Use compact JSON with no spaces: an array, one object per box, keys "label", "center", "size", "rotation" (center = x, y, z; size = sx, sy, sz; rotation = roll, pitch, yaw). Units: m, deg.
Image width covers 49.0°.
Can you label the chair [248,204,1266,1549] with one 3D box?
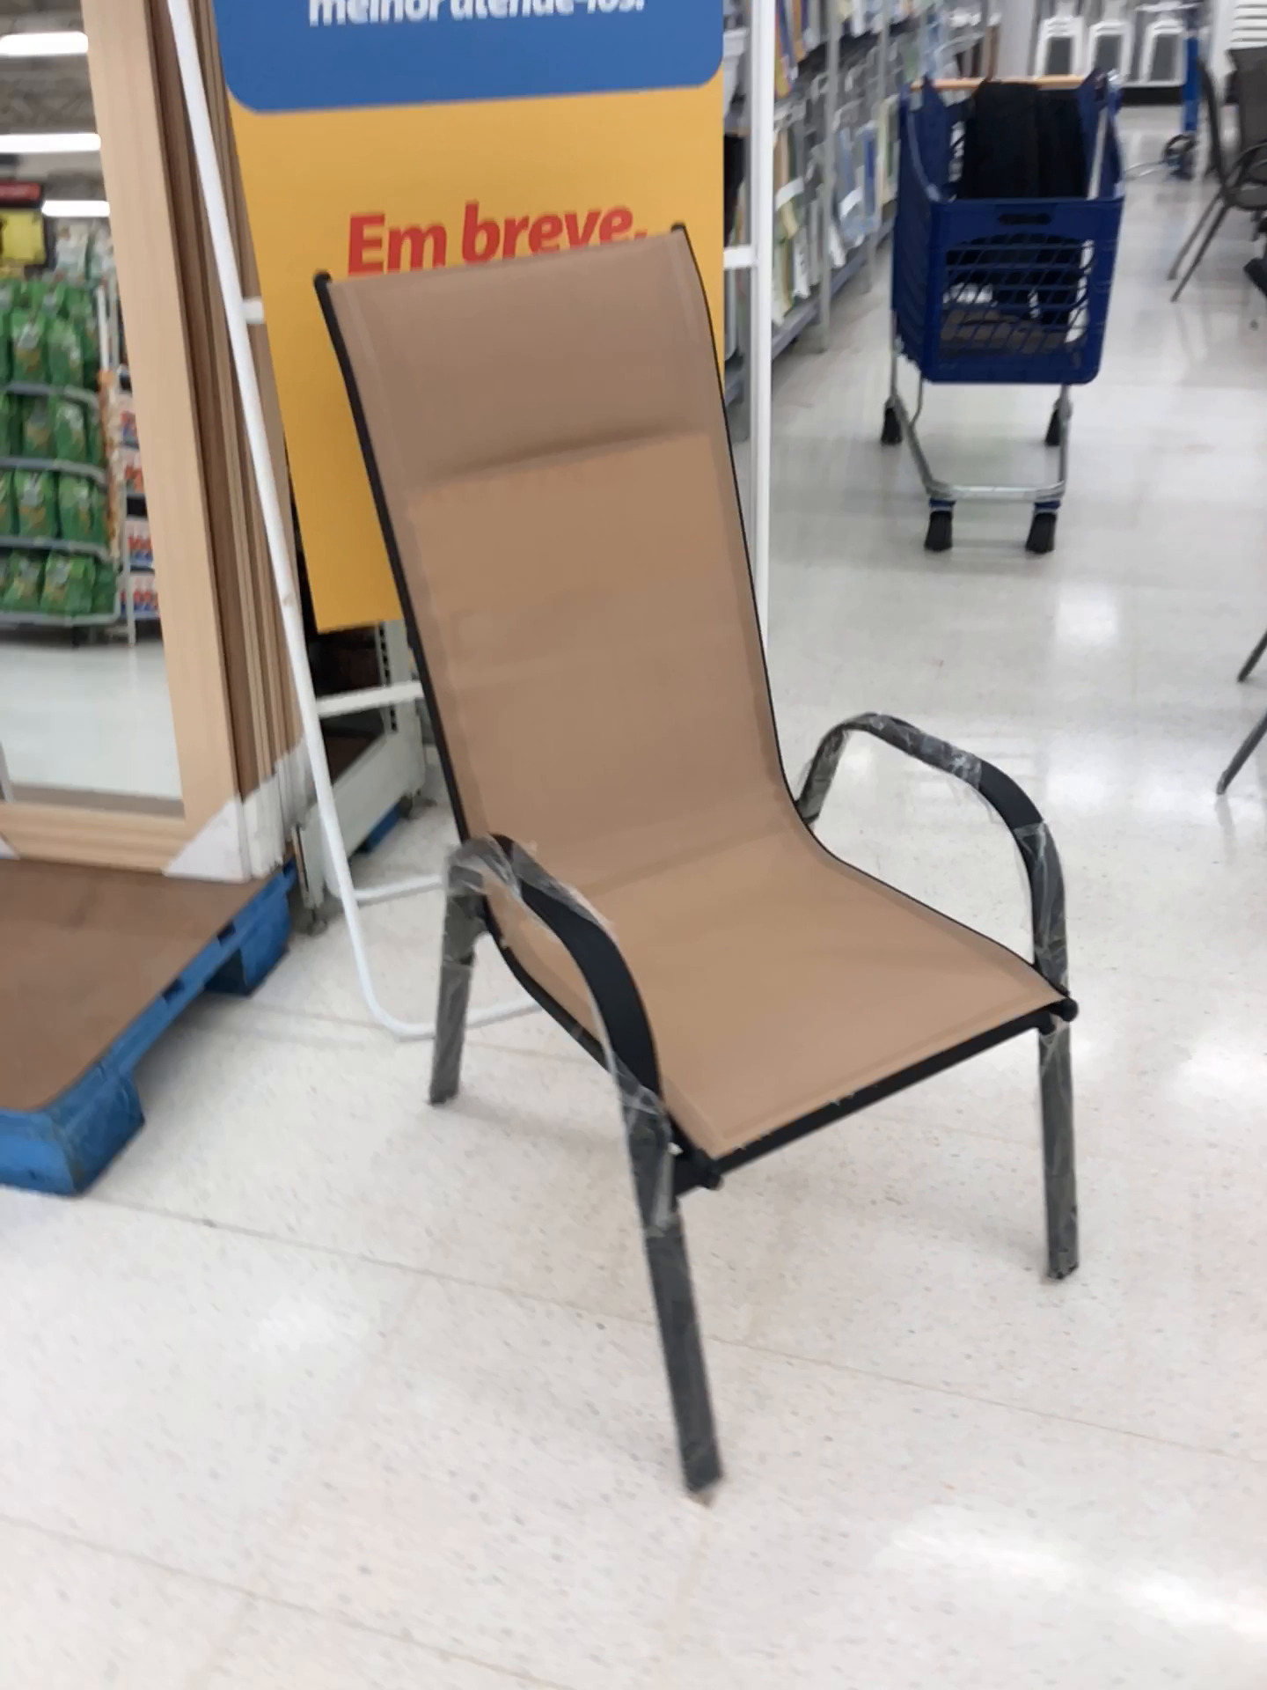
[{"label":"chair","center":[0.115,-0.036,1.376],"size":[0.621,0.973,0.704],"rotation":[-19,35,-24]}]
